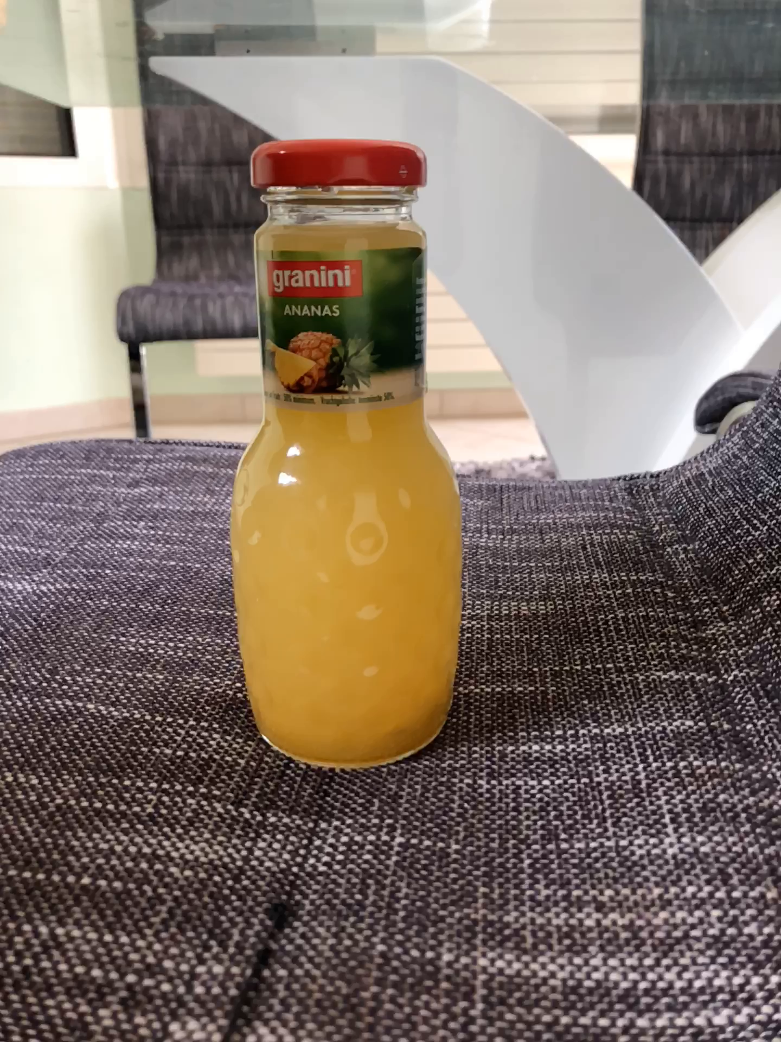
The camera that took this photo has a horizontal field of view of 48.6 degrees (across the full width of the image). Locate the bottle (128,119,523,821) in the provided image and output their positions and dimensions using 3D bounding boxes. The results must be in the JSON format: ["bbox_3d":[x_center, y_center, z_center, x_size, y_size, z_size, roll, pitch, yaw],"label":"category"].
[{"bbox_3d":[-0.009,-0.015,0.220,0.070,0.149,0.070,-1,18,0],"label":"bottle"}]
